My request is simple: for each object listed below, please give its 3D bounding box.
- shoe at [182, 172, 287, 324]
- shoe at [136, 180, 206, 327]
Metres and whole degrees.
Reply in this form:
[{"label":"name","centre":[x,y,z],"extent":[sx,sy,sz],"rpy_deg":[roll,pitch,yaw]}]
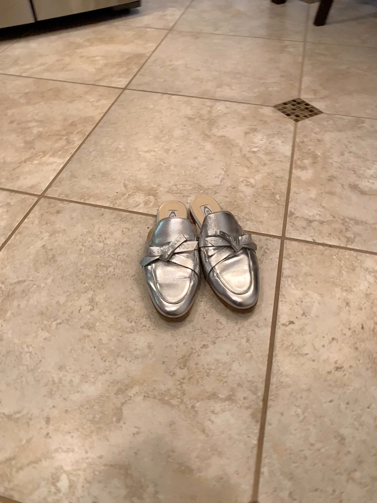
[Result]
[{"label":"shoe","centre":[0.066,-0.020,0.682],"extent":[0.091,0.077,0.281],"rpy_deg":[-11,49,-10]},{"label":"shoe","centre":[-0.025,-0.009,0.678],"extent":[0.101,0.077,0.278],"rpy_deg":[0,48,0]}]
